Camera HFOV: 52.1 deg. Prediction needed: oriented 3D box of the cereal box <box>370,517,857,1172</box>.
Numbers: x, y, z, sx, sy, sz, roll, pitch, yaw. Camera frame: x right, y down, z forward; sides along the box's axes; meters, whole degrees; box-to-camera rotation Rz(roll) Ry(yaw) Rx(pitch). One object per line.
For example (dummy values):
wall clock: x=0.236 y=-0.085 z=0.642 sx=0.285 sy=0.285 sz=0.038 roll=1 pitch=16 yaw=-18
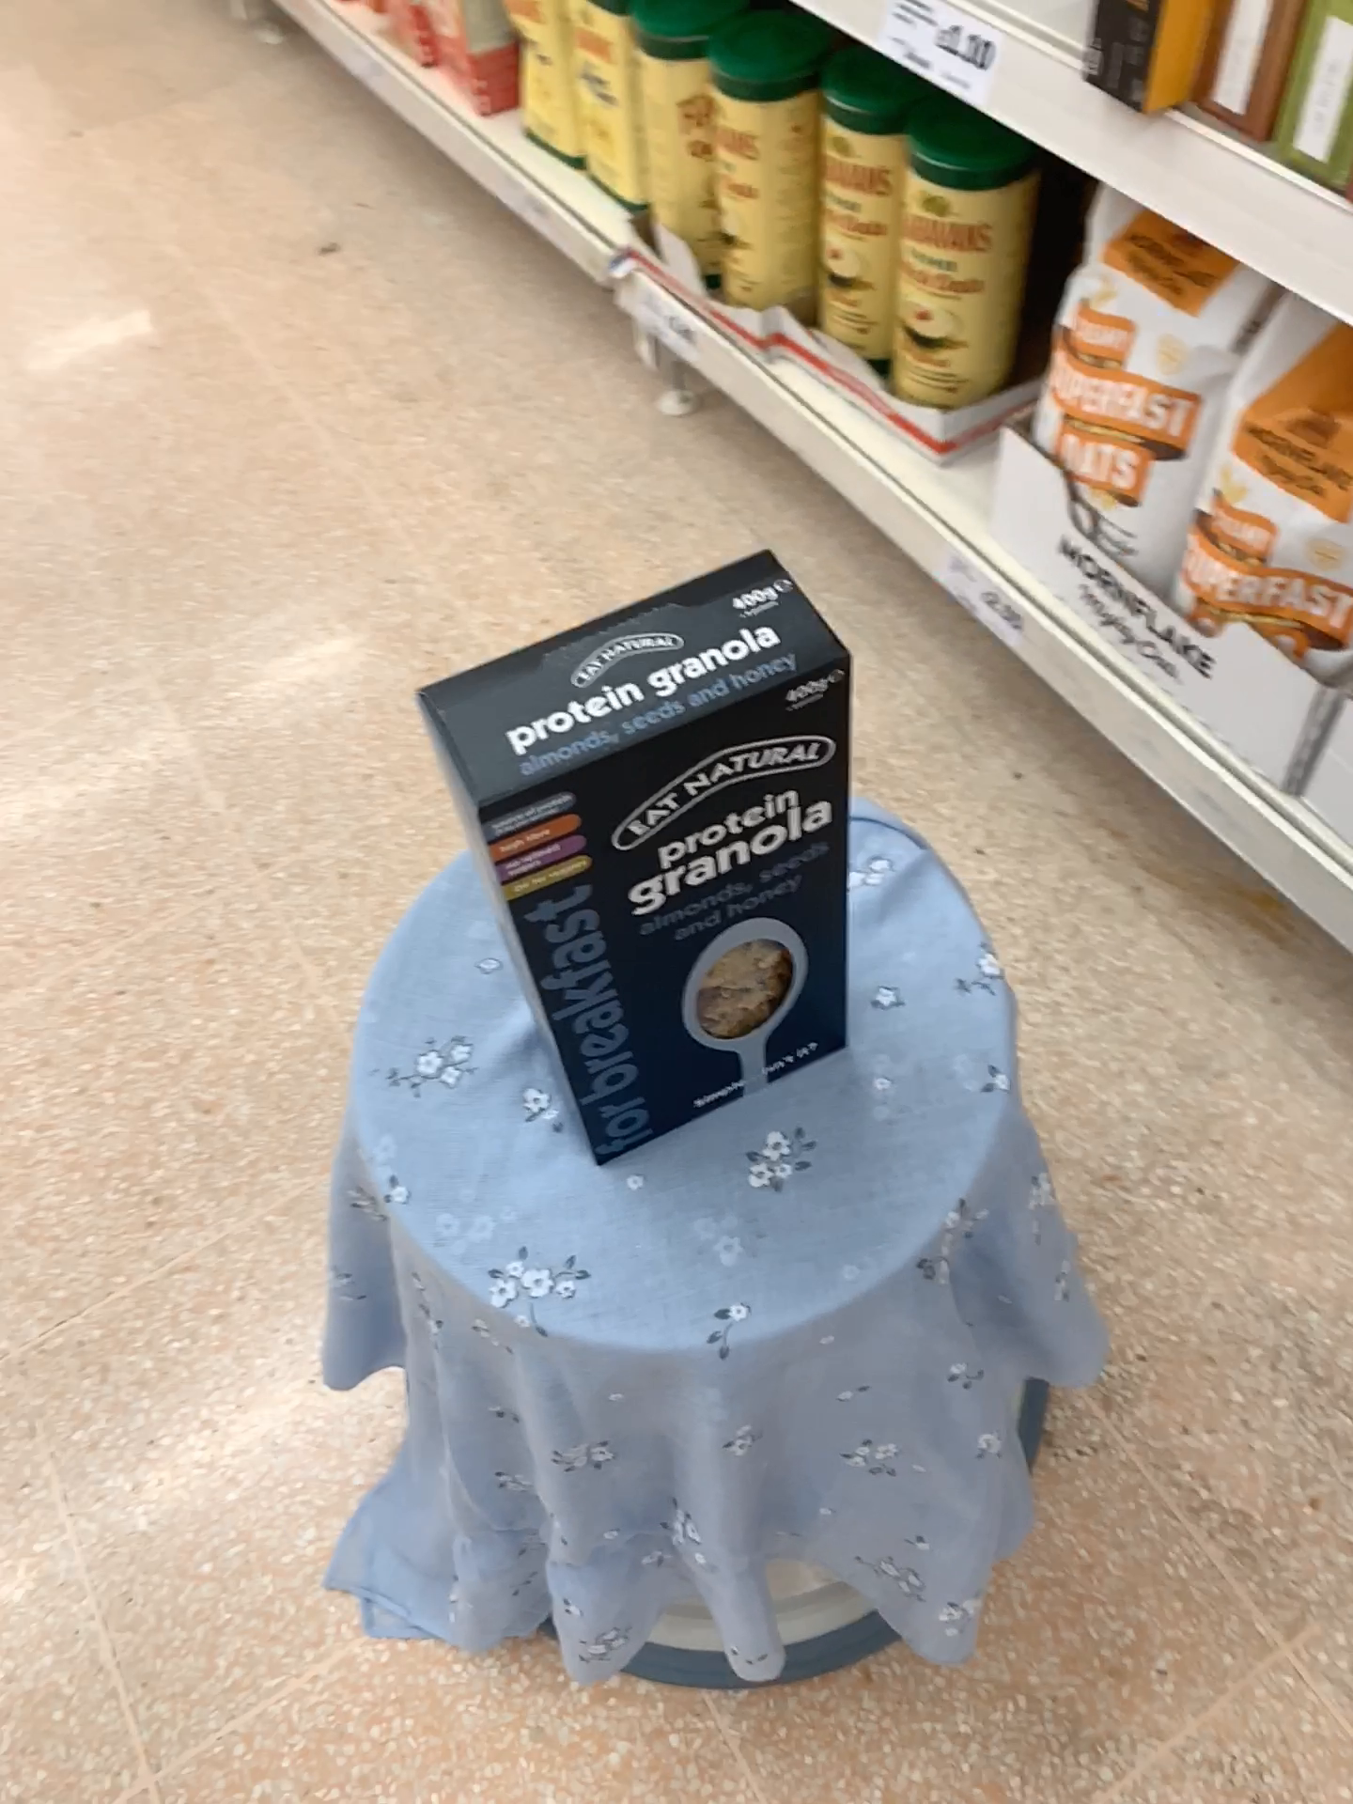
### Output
cereal box: x=-0.011 y=-0.006 z=0.514 sx=0.130 sy=0.238 sz=0.070 roll=-24 pitch=57 yaw=-12
